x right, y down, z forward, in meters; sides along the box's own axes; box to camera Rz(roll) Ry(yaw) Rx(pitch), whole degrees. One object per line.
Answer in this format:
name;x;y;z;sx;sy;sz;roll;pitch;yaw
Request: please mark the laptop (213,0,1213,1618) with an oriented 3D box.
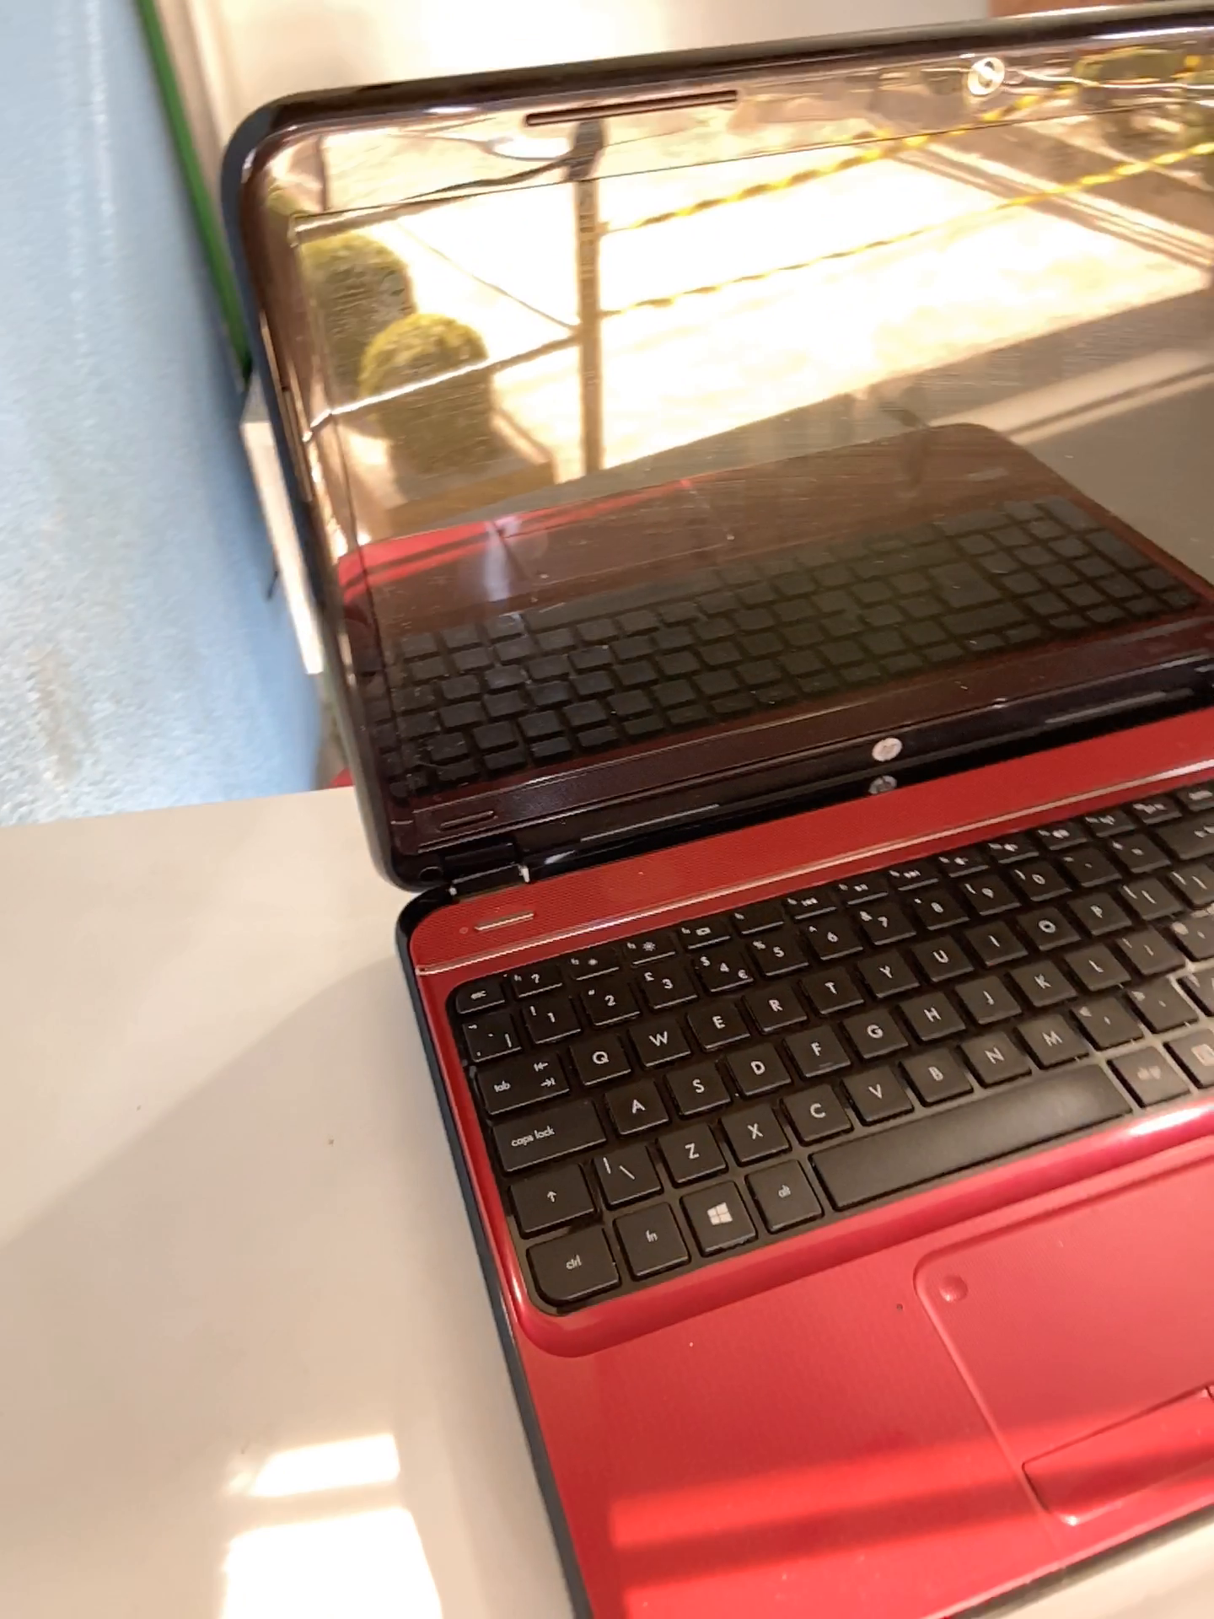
laptop;0.130;-0.025;0.284;0.356;0.221;0.228;-14;41;-11
